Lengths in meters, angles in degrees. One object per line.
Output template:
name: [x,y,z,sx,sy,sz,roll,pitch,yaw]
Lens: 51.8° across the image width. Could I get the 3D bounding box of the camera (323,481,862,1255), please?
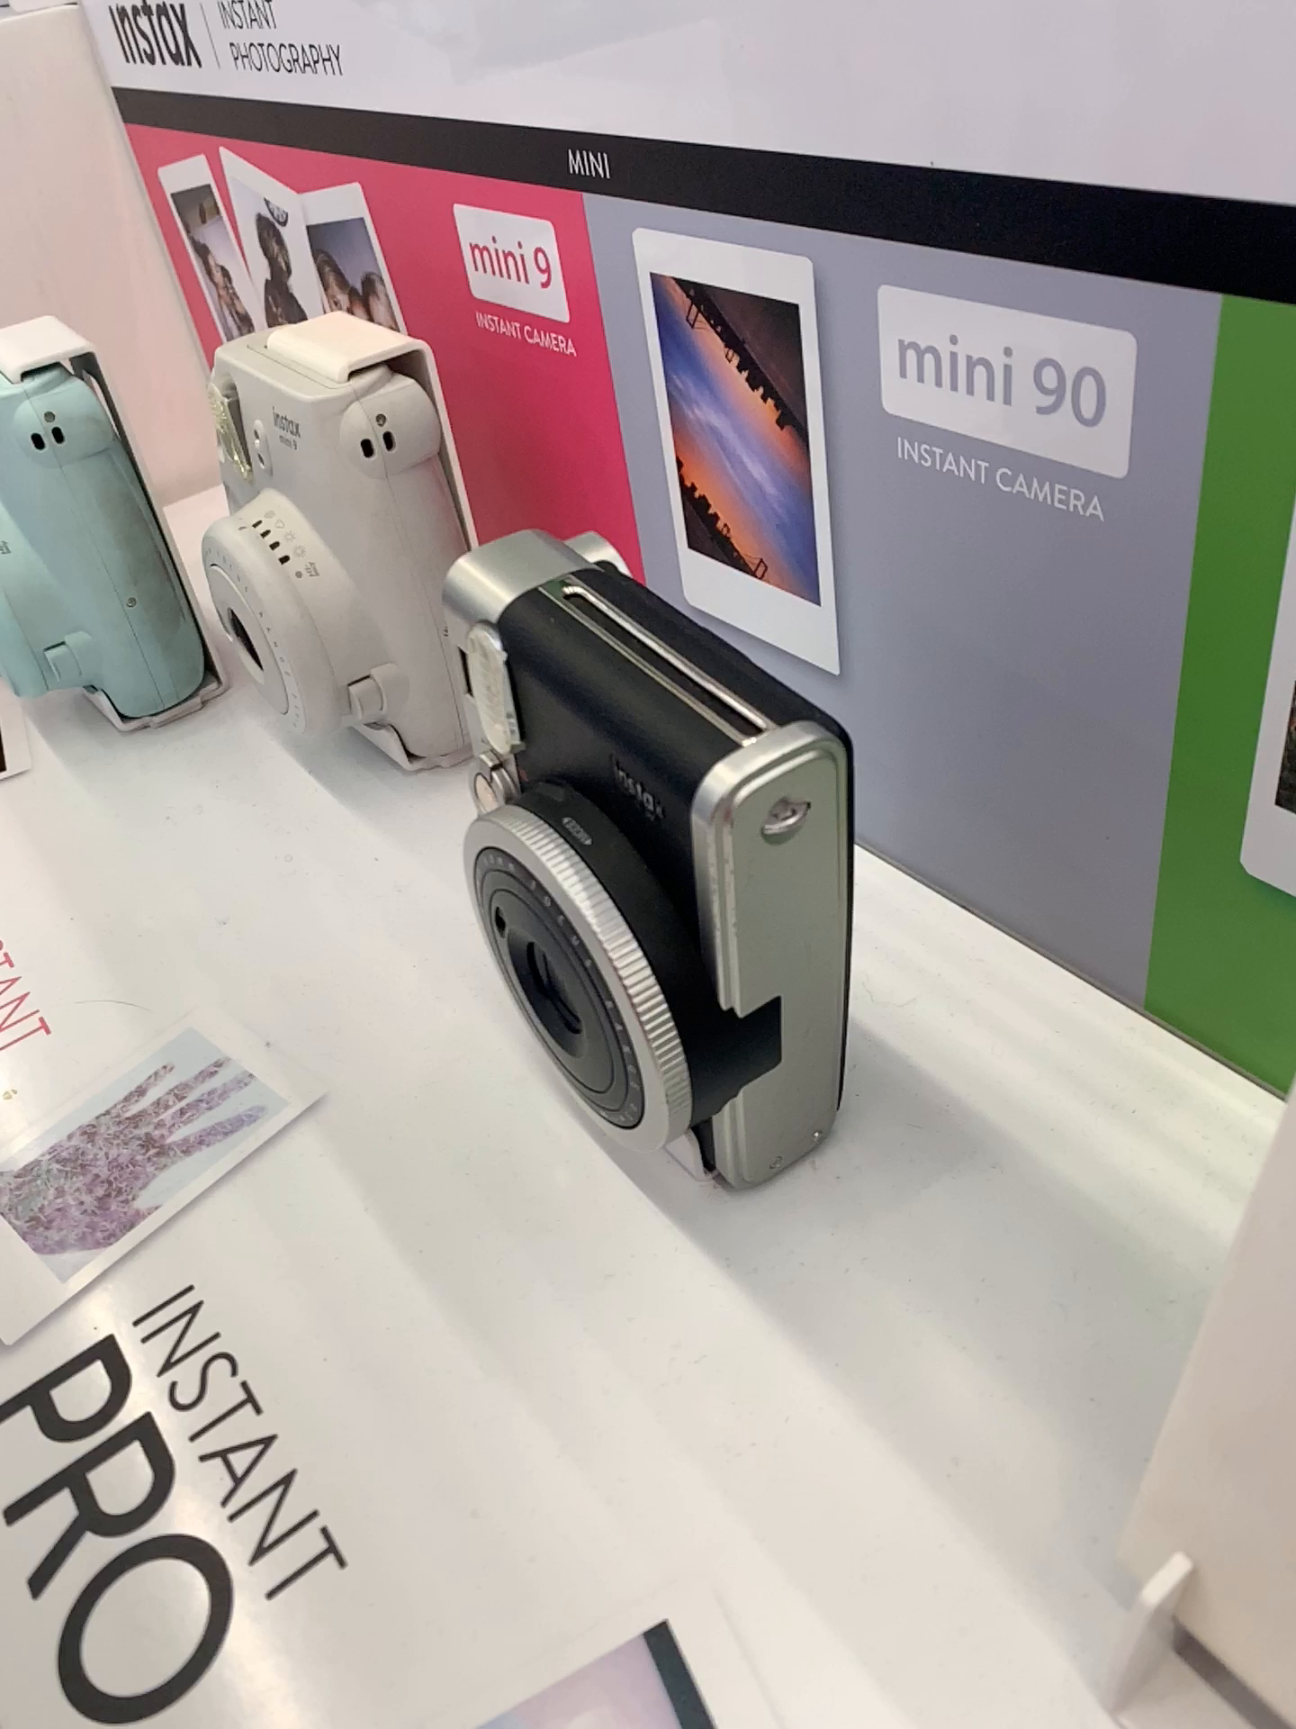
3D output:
camera: [-0.009,-0.001,0.267,0.050,0.109,0.101,-27,44,-20]
